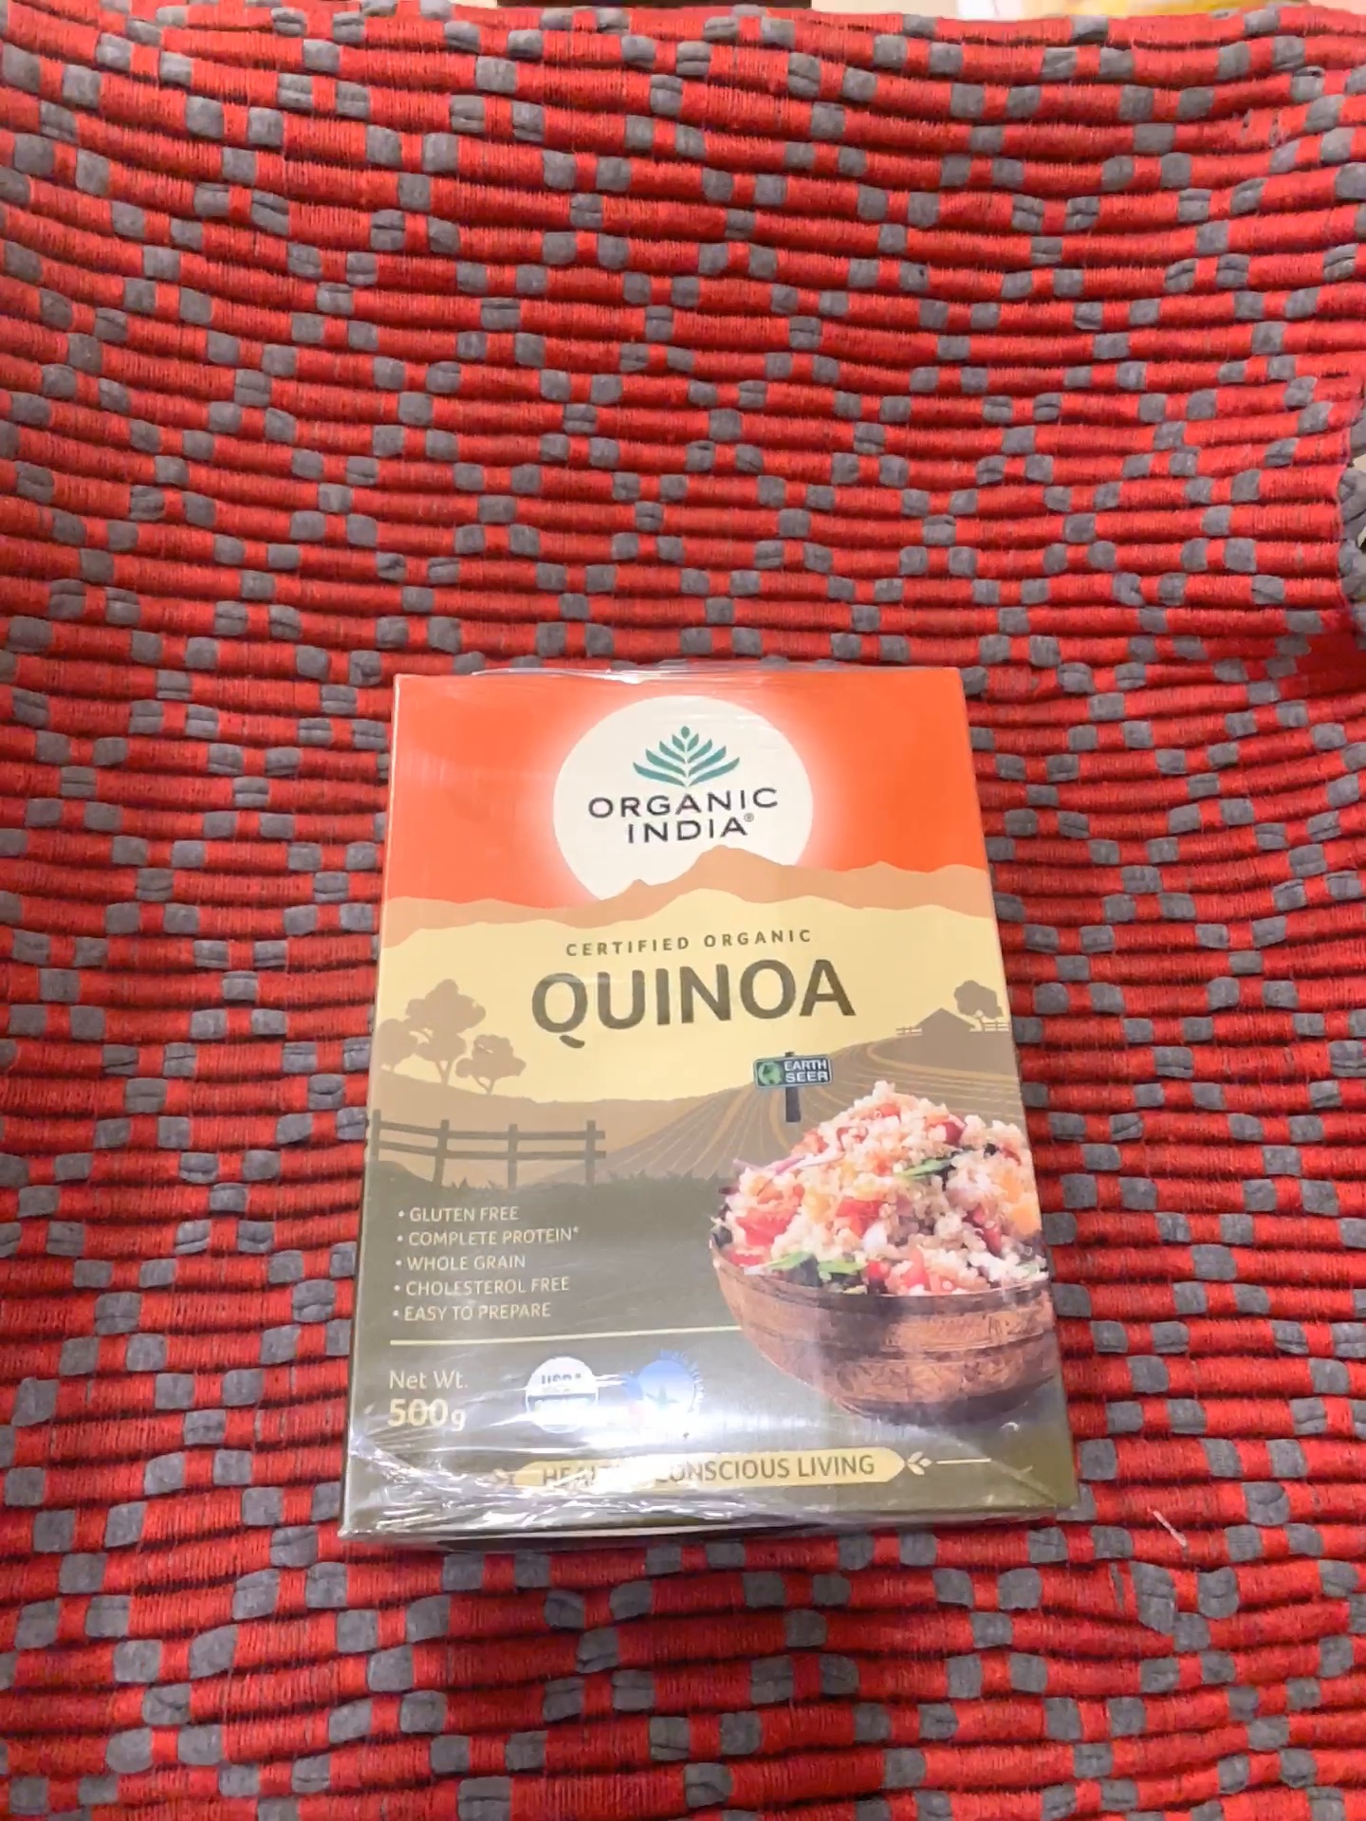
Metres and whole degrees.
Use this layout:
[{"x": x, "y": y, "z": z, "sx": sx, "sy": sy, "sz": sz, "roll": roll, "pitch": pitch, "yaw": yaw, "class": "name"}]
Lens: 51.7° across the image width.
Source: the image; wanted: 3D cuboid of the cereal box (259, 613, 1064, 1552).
[{"x": -0.006, "y": 0.033, "z": 0.296, "sx": 0.130, "sy": 0.070, "sz": 0.180, "roll": -1, "pitch": 66, "yaw": -2, "class": "cereal box"}]
